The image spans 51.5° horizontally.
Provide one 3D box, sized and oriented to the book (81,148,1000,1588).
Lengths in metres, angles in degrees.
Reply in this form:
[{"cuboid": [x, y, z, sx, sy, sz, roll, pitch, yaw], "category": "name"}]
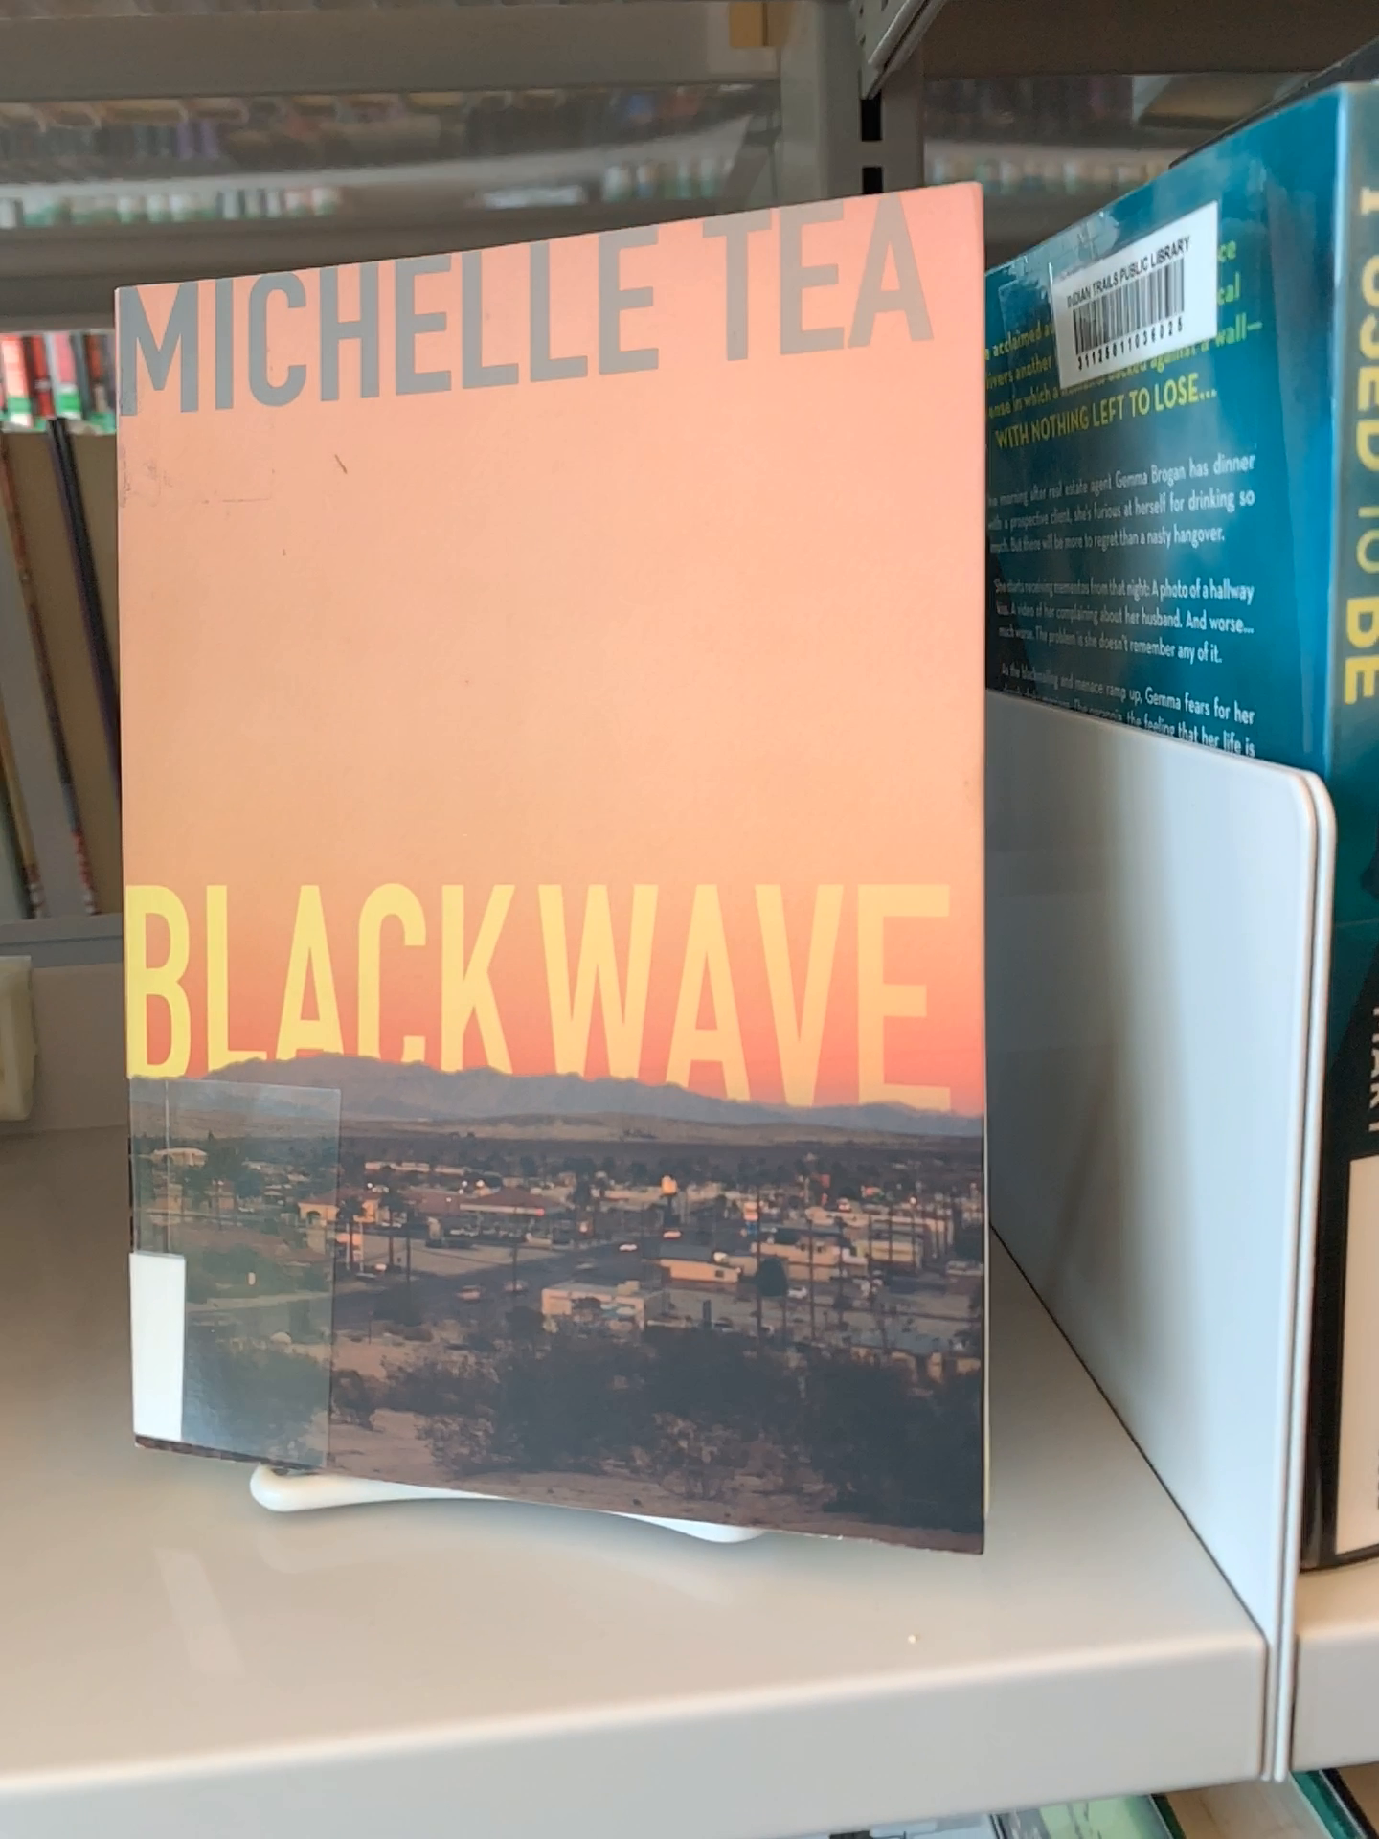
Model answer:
[{"cuboid": [-0.025, -0.007, 0.237, 0.147, 0.201, 0.036, 1, 2, 16], "category": "book"}]
